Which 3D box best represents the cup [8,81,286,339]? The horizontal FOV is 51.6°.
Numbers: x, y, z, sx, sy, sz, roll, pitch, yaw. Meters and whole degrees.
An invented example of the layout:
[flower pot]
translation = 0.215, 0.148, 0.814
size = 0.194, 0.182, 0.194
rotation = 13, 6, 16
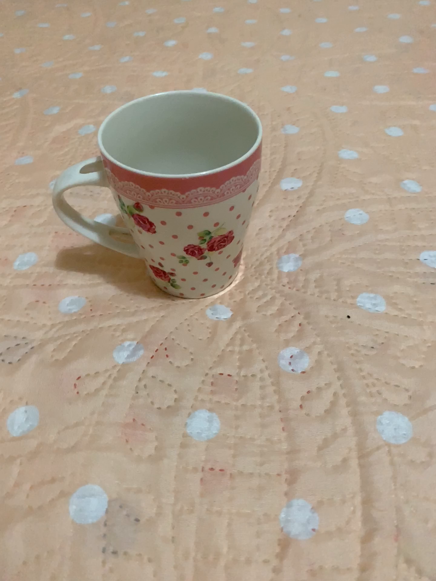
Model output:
[cup]
translation = -0.034, -0.046, 0.262
size = 0.120, 0.099, 0.090
rotation = -8, 48, -4
